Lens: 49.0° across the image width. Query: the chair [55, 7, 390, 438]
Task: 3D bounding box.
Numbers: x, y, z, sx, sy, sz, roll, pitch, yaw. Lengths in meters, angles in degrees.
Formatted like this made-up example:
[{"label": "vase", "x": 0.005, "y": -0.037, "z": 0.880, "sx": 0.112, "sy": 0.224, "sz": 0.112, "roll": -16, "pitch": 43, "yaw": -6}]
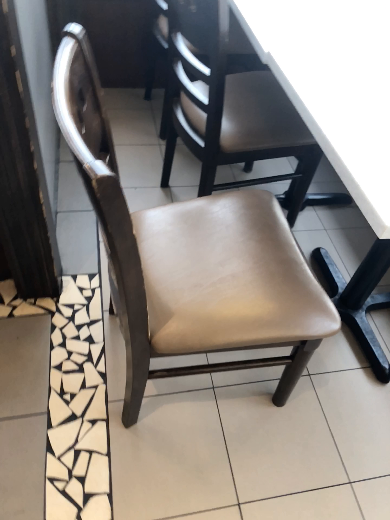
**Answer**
[{"label": "chair", "x": 0.054, "y": -0.033, "z": 0.896, "sx": 0.570, "sy": 0.715, "sz": 0.473, "roll": -5, "pitch": 51, "yaw": -12}]
